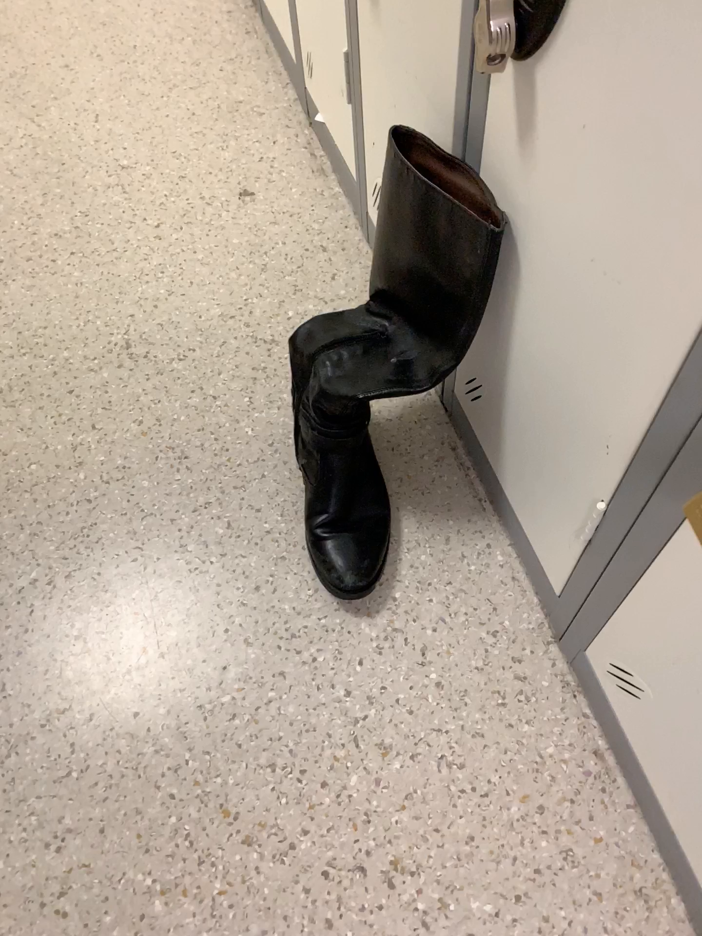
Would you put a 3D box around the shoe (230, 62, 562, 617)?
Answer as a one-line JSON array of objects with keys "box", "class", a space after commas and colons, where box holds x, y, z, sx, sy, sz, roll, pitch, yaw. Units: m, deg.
[{"box": [0.016, -0.091, 0.621, 0.167, 0.331, 0.315, -8, 58, -3], "class": "shoe"}]
